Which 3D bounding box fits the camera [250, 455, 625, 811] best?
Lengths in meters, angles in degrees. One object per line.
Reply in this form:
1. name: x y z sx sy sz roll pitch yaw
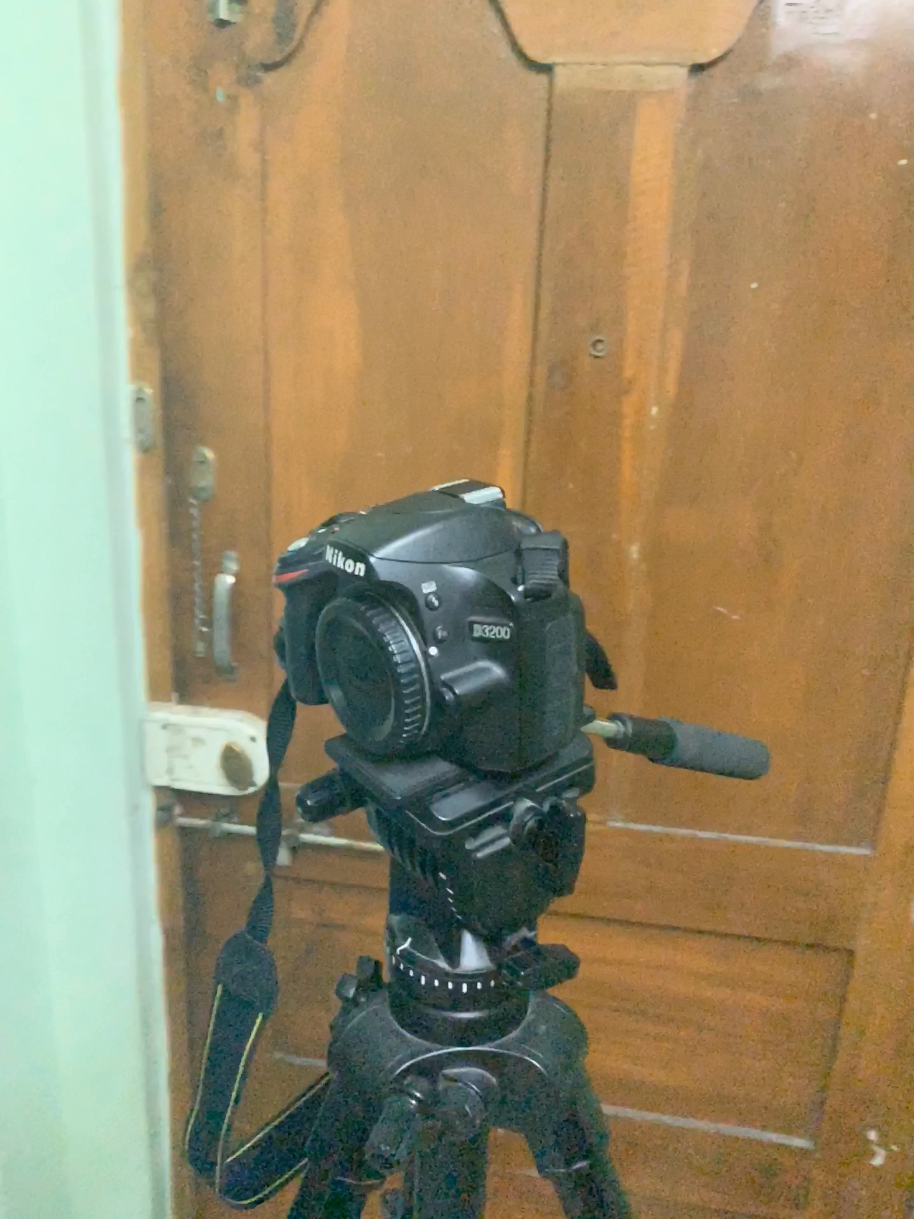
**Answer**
1. camera: -0.013 -0.002 0.364 0.086 0.096 0.118 -11 22 -37
